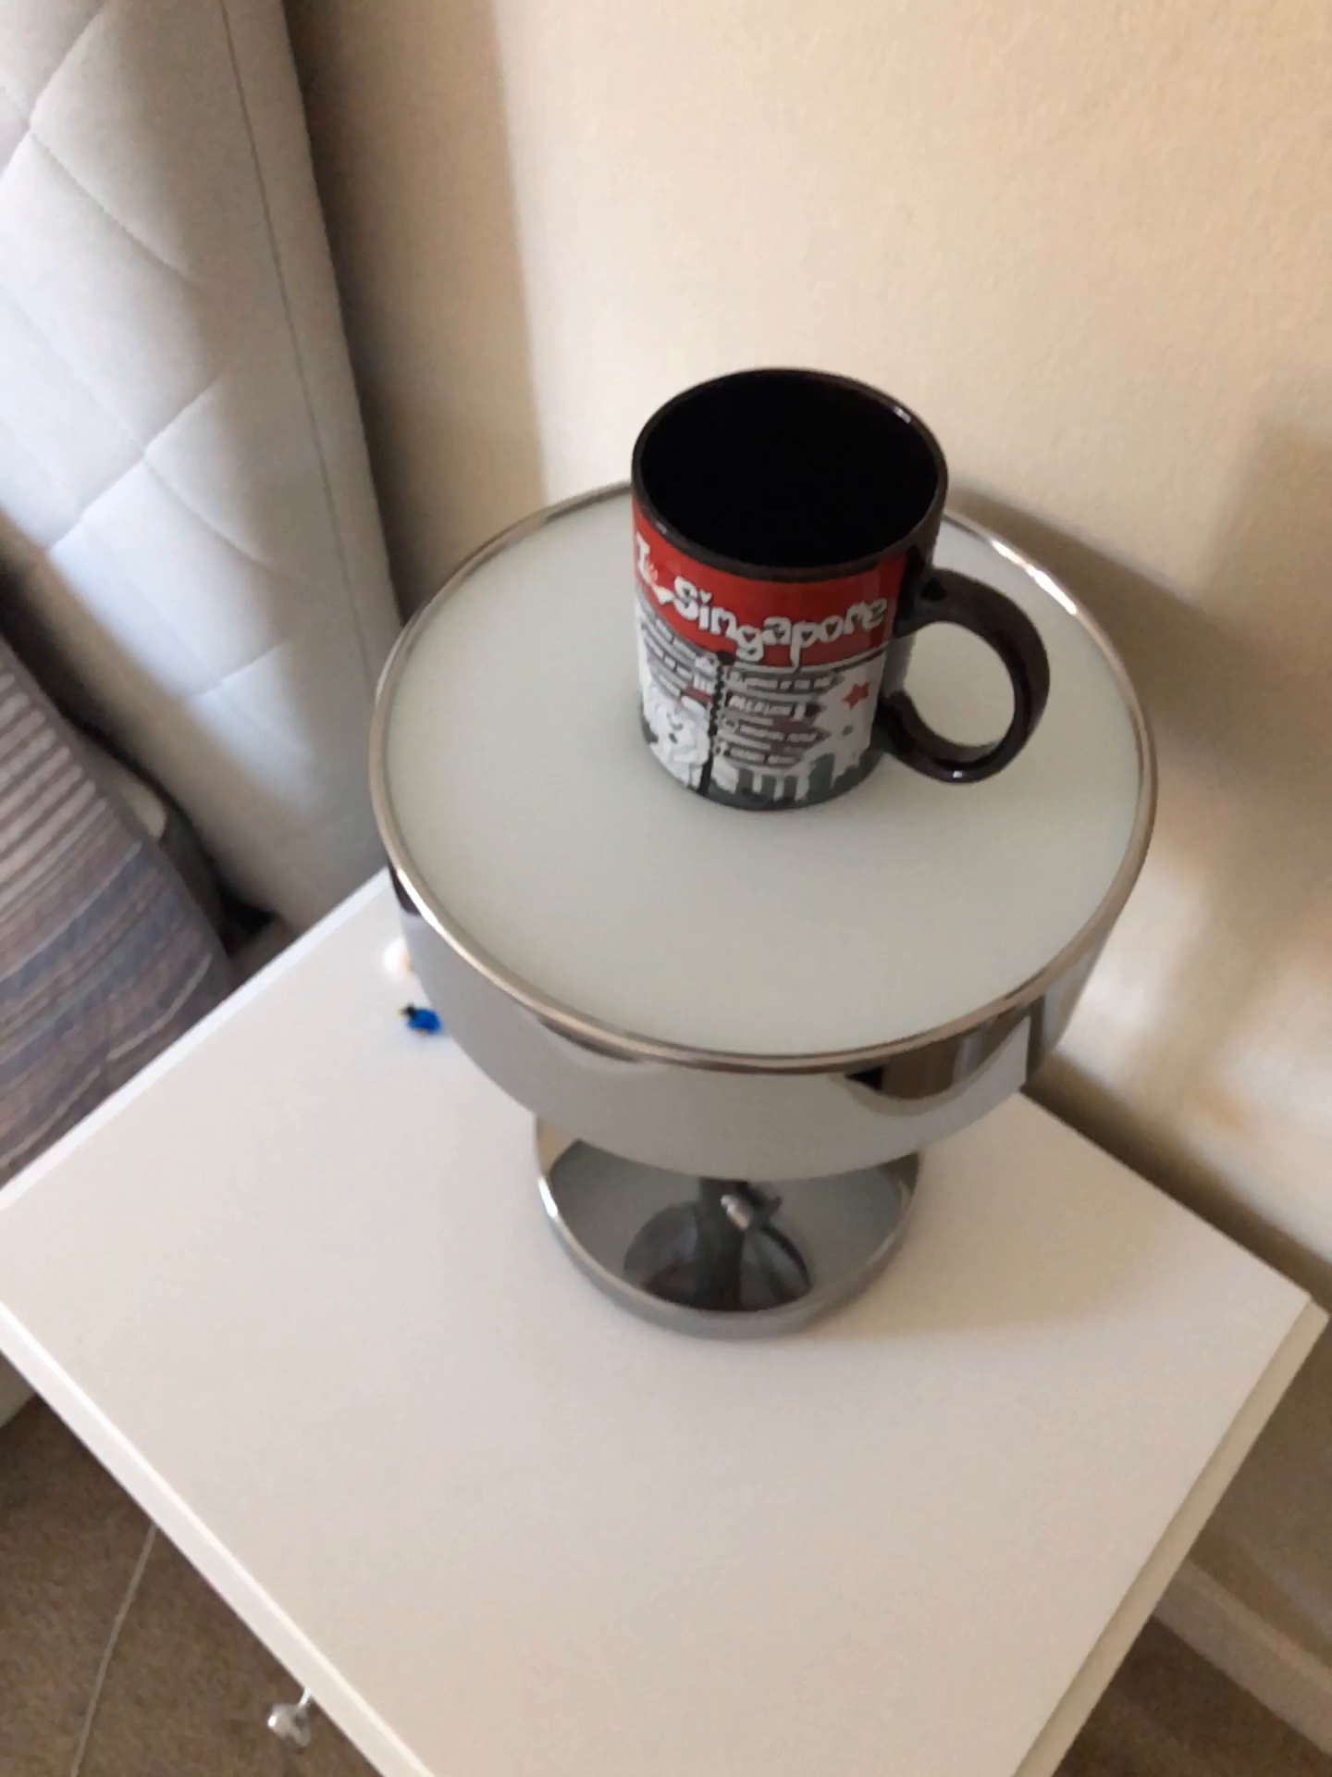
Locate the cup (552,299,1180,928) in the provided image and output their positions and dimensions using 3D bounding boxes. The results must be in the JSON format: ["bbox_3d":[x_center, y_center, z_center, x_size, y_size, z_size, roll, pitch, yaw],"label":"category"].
[{"bbox_3d":[0.050,-0.076,0.409,0.130,0.100,0.090,24,58,16],"label":"cup"}]
